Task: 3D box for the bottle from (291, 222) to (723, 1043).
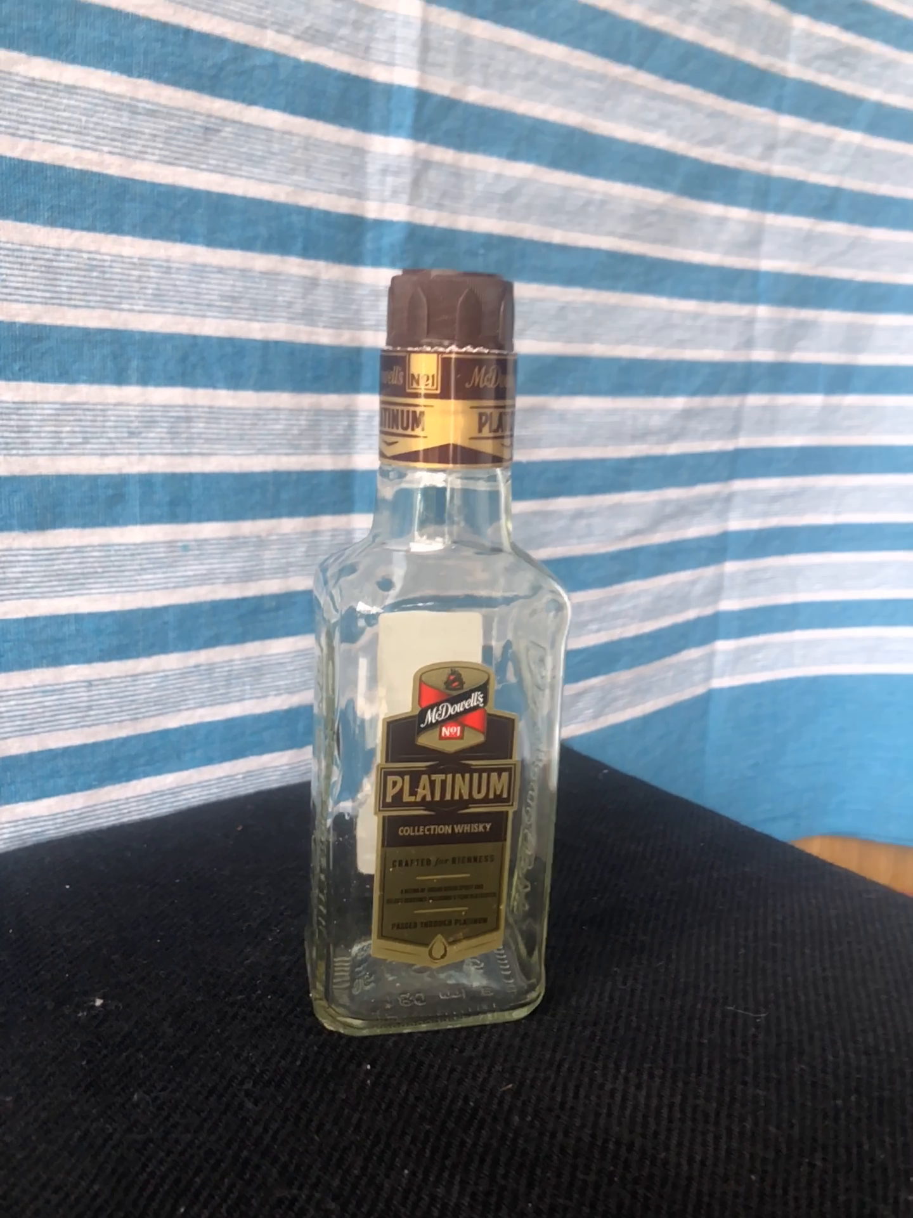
[{"bbox_3d":[0.005,0.007,0.207,0.060,0.150,0.040,2,14,-18],"label":"bottle"}]
